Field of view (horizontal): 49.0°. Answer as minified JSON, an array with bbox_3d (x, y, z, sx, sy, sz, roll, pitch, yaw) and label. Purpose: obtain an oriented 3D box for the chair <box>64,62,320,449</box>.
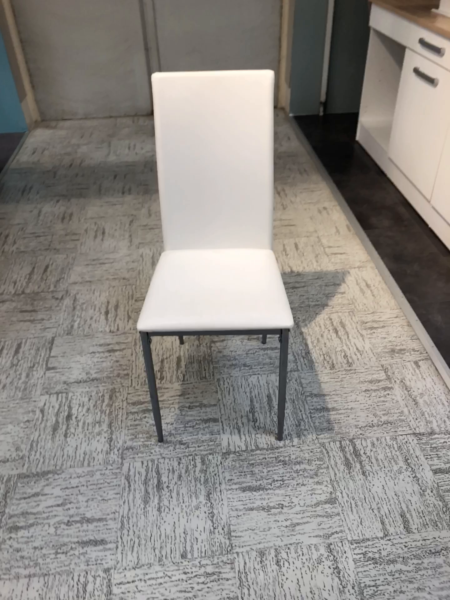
[{"bbox_3d":[-0.044,-0.100,1.408,0.470,0.944,0.553,0,38,2],"label":"chair"}]
